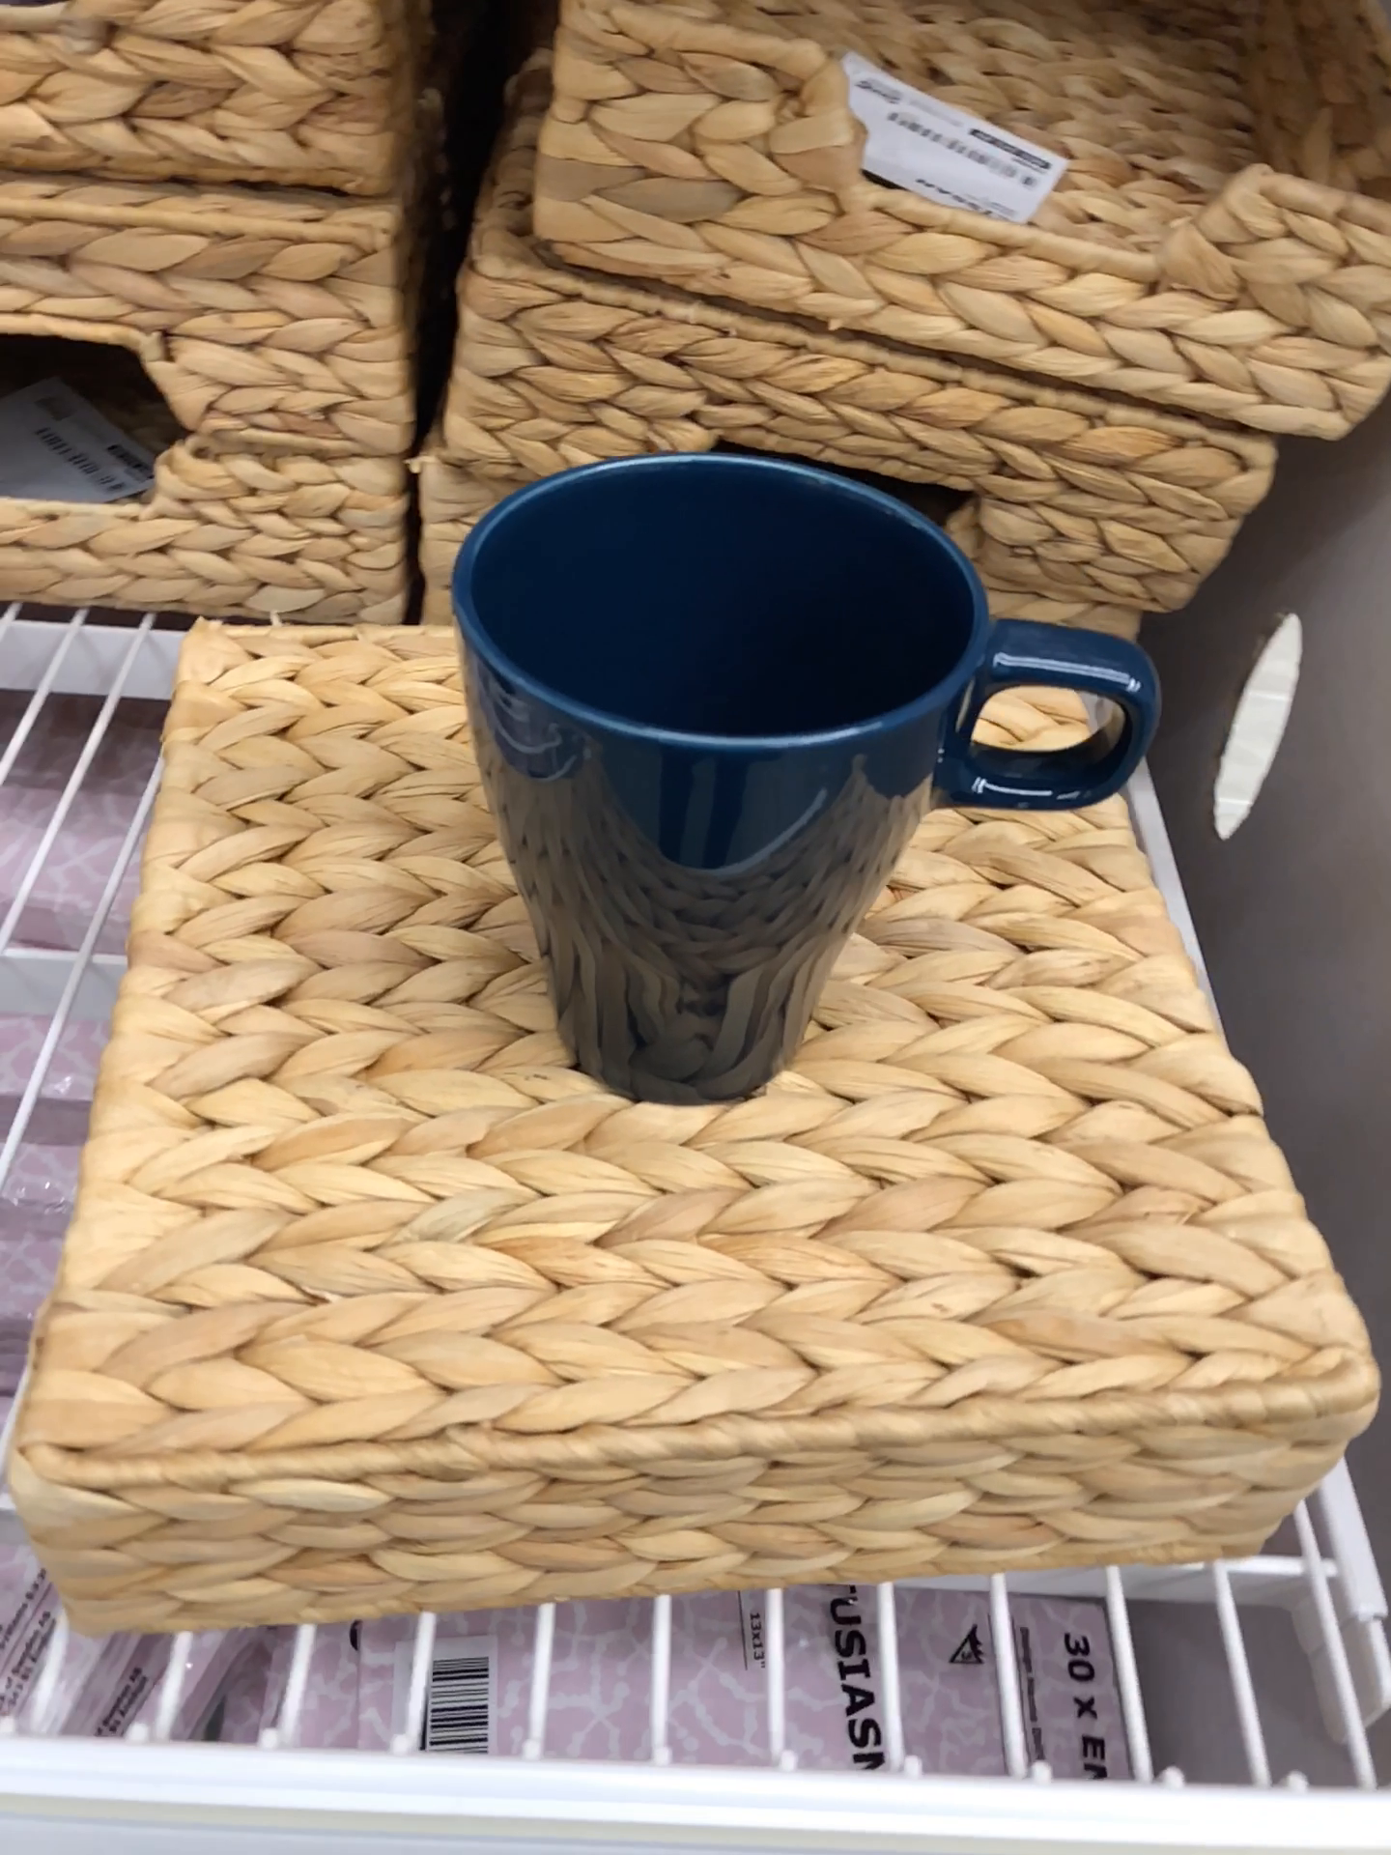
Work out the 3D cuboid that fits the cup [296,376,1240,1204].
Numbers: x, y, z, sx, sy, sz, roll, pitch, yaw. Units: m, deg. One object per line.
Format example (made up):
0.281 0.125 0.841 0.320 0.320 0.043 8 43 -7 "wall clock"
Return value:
0.011 -0.023 0.254 0.120 0.090 0.080 8 45 3 "cup"
